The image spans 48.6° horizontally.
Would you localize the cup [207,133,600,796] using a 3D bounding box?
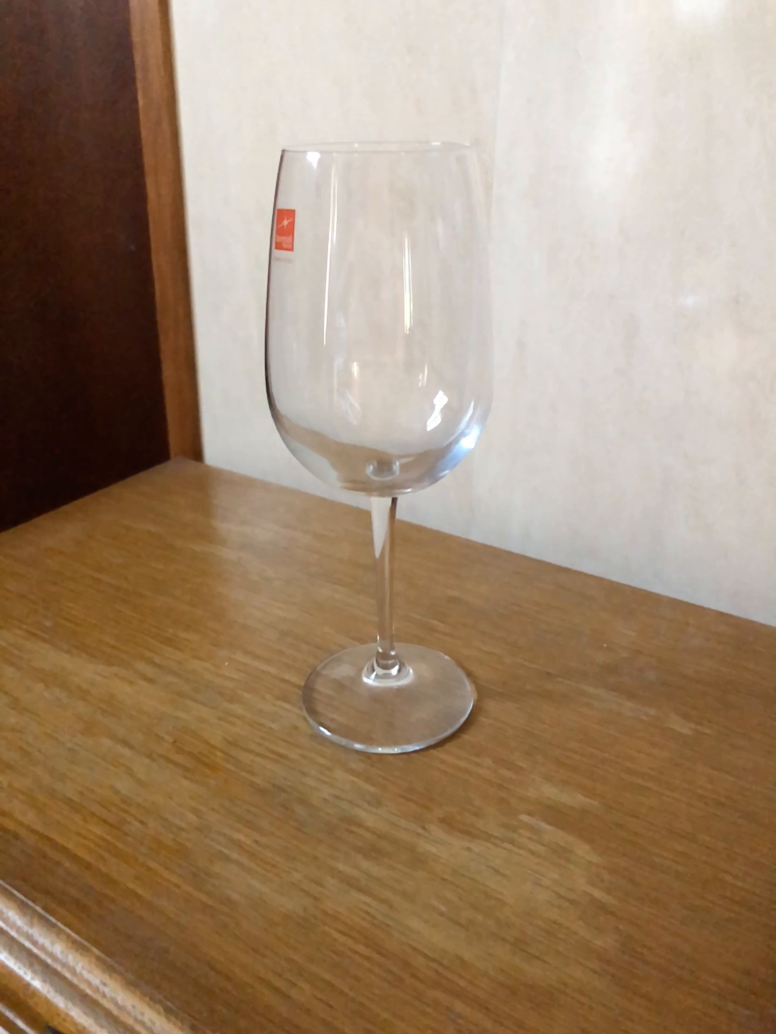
[{"bbox_3d":[0.002,-0.025,0.340,0.100,0.229,0.090,-15,29,-30],"label":"cup"}]
